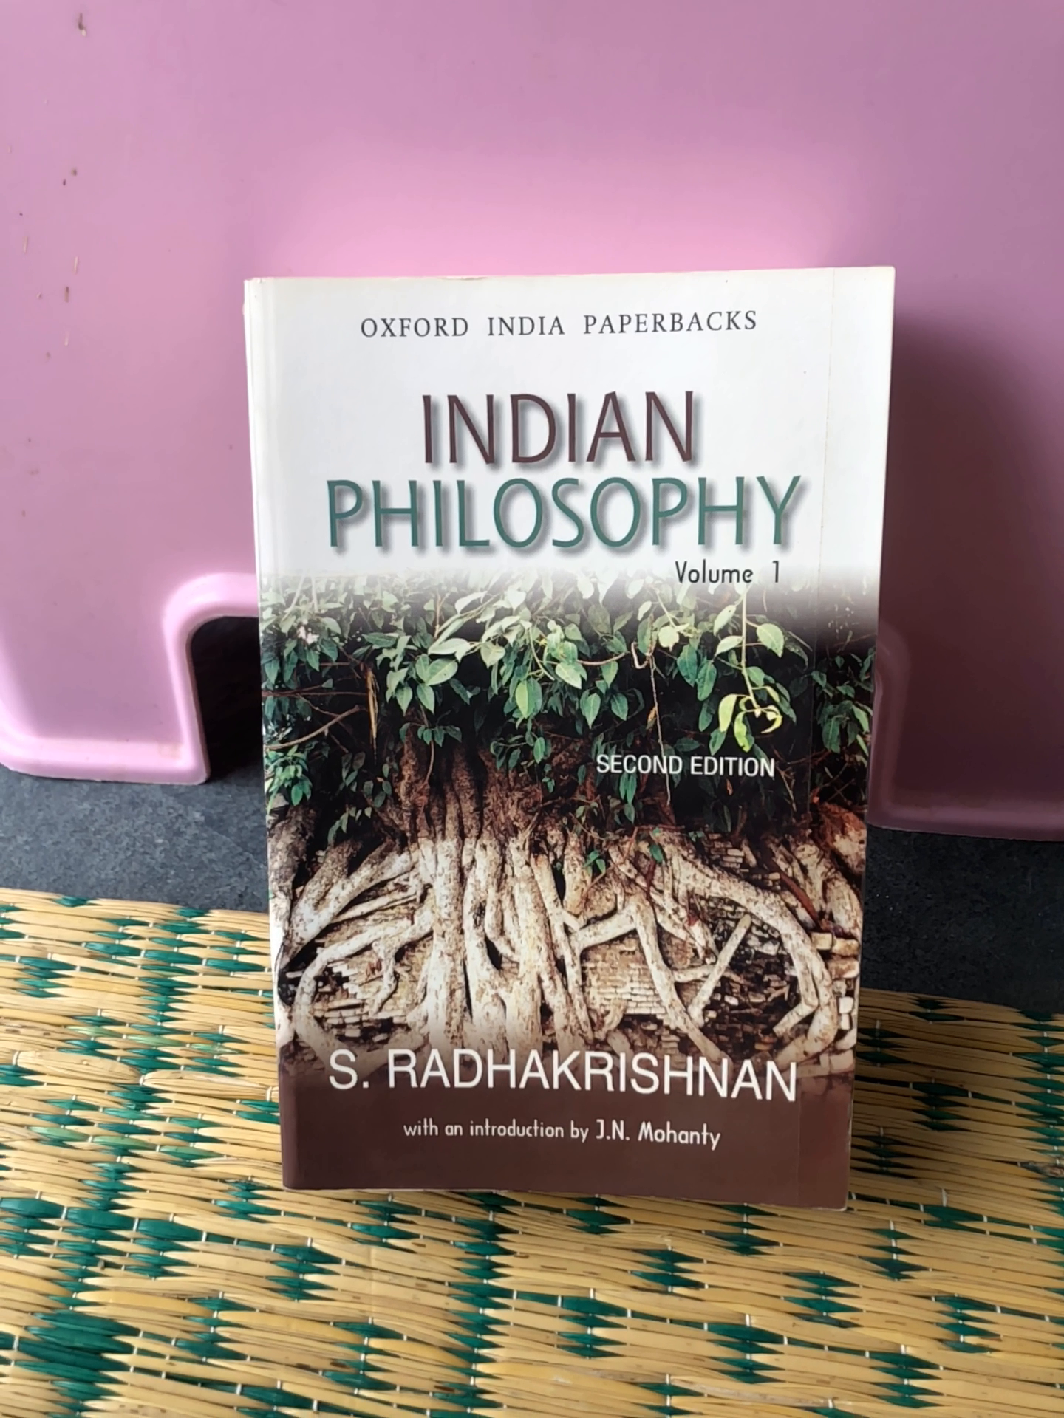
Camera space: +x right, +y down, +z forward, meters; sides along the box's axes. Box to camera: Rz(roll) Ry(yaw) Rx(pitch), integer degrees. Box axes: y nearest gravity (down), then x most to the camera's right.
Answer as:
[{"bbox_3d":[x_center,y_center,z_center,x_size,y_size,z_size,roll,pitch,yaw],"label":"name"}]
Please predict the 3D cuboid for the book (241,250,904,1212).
[{"bbox_3d":[0.008,0.004,0.294,0.140,0.210,0.070,1,5,2],"label":"book"}]
